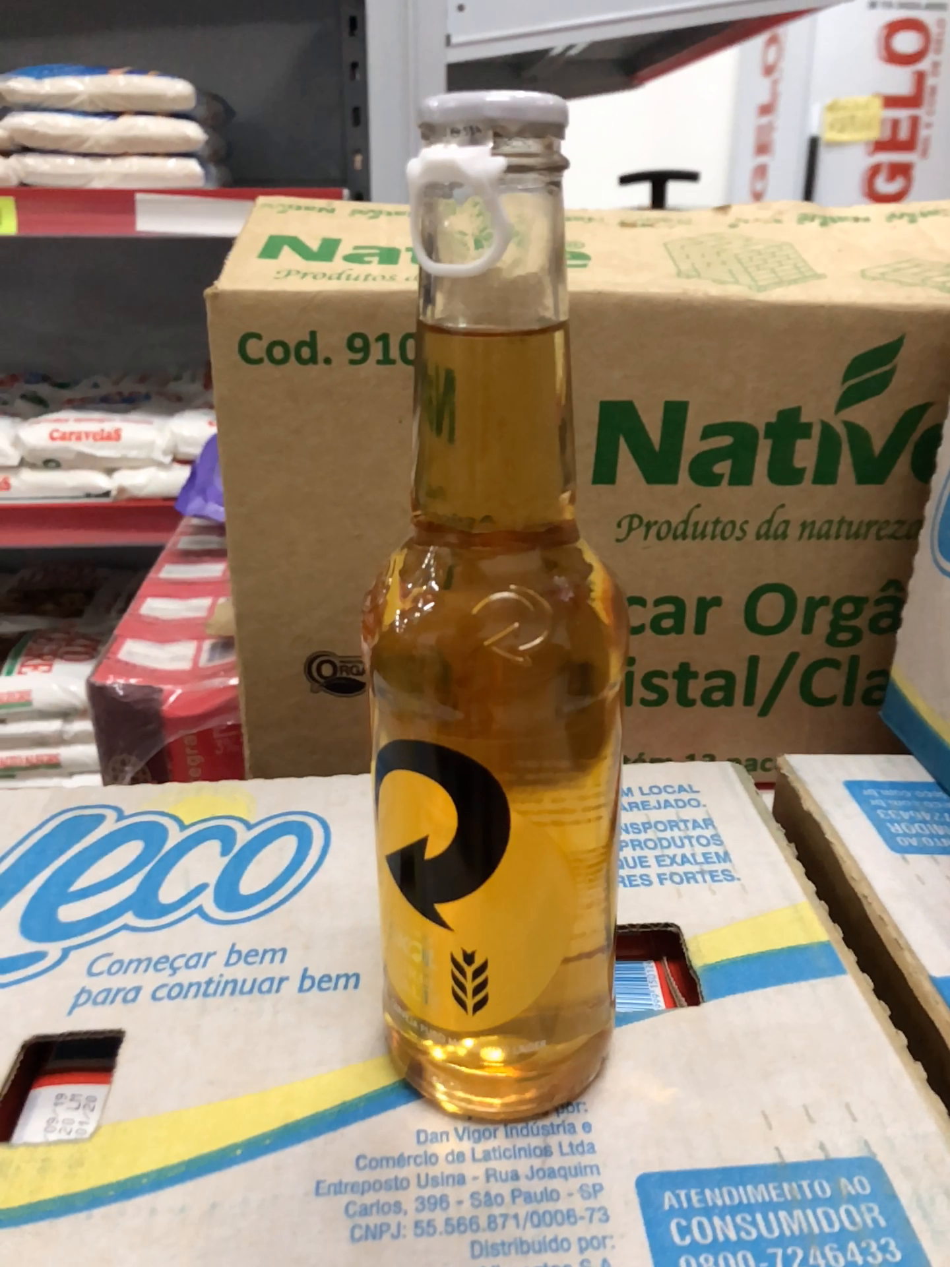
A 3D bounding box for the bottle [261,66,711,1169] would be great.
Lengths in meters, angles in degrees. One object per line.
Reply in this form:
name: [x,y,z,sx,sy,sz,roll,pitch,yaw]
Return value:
bottle: [0.005,0.002,0.223,0.060,0.209,0.060,0,22,0]
